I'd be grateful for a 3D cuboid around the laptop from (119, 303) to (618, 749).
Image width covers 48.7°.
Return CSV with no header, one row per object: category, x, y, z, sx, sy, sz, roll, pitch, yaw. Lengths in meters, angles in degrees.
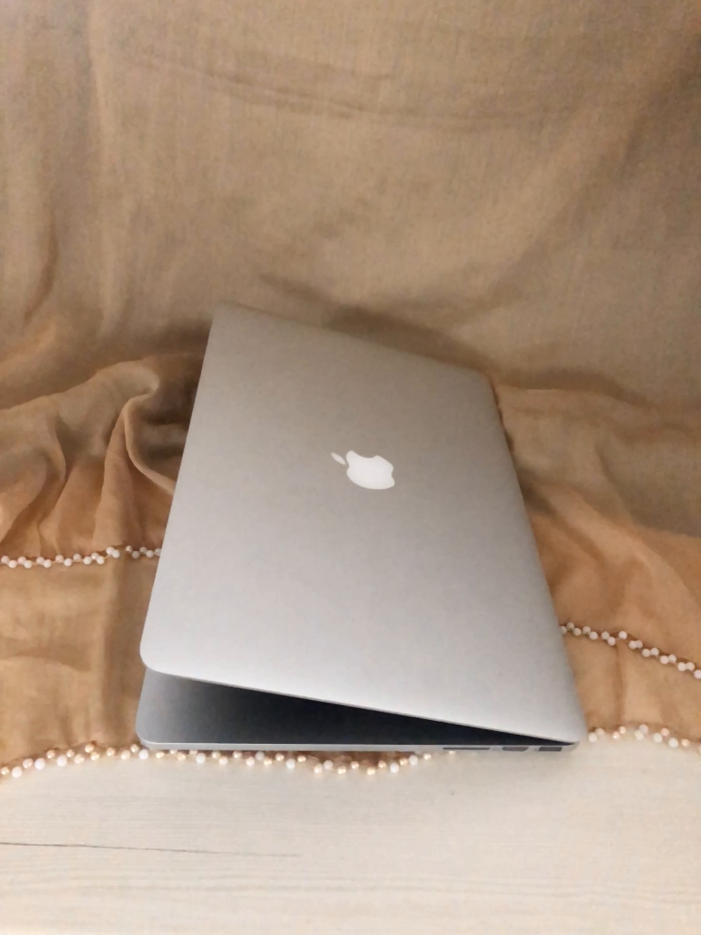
laptop,0.004,0.008,0.525,0.239,0.063,0.353,2,40,-3
